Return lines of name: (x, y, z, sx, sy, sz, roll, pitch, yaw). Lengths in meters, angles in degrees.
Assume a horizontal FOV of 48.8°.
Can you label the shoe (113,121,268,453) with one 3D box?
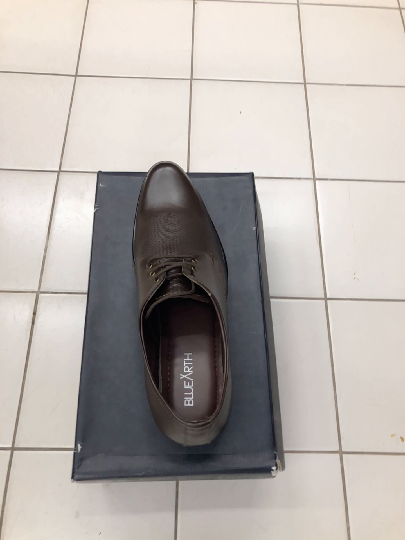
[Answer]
shoe: (-0.021, 0.011, 0.436, 0.110, 0.100, 0.301, -5, 68, -4)
